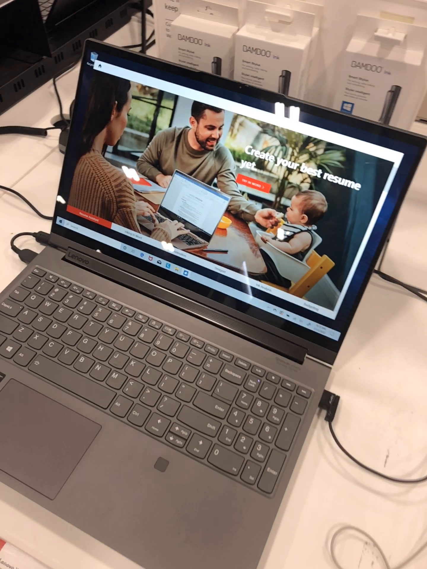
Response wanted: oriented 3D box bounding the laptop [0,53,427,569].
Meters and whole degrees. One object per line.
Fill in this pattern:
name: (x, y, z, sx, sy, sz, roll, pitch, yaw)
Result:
laptop: (-0.051, -0.003, 0.426, 0.345, 0.189, 0.369, 22, 53, 15)
